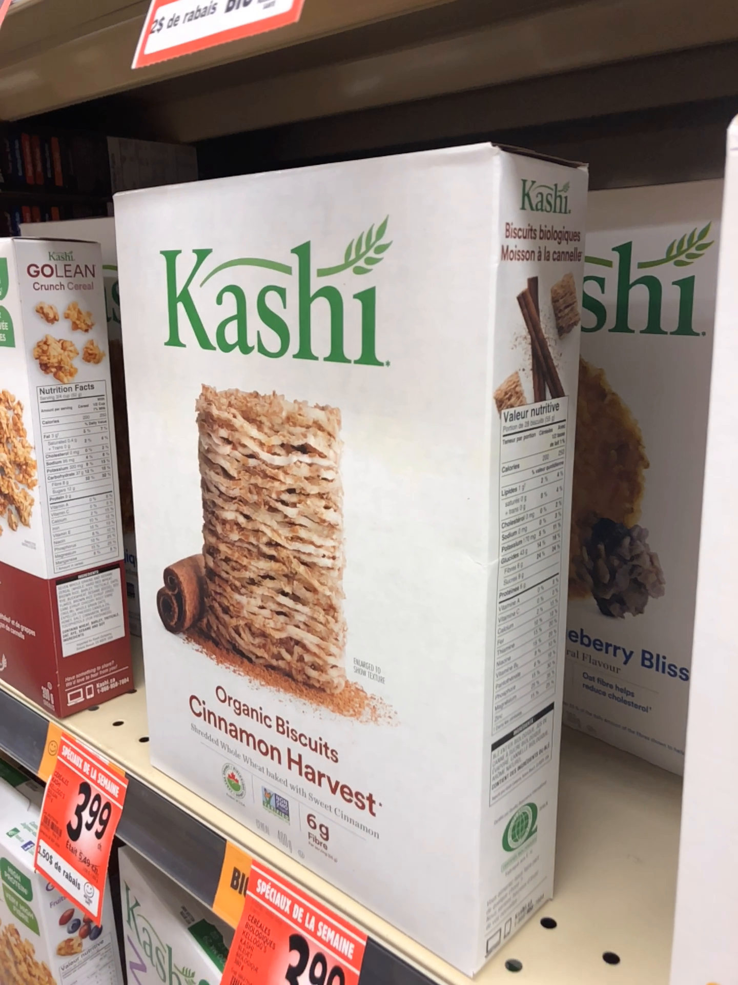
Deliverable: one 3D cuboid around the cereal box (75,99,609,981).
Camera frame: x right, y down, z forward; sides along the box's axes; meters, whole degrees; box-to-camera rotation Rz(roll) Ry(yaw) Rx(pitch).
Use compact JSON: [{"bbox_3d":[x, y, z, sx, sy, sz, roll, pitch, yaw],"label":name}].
[{"bbox_3d":[-0.019,0.008,0.327,0.200,0.269,0.070,12,21,42],"label":"cereal box"}]
